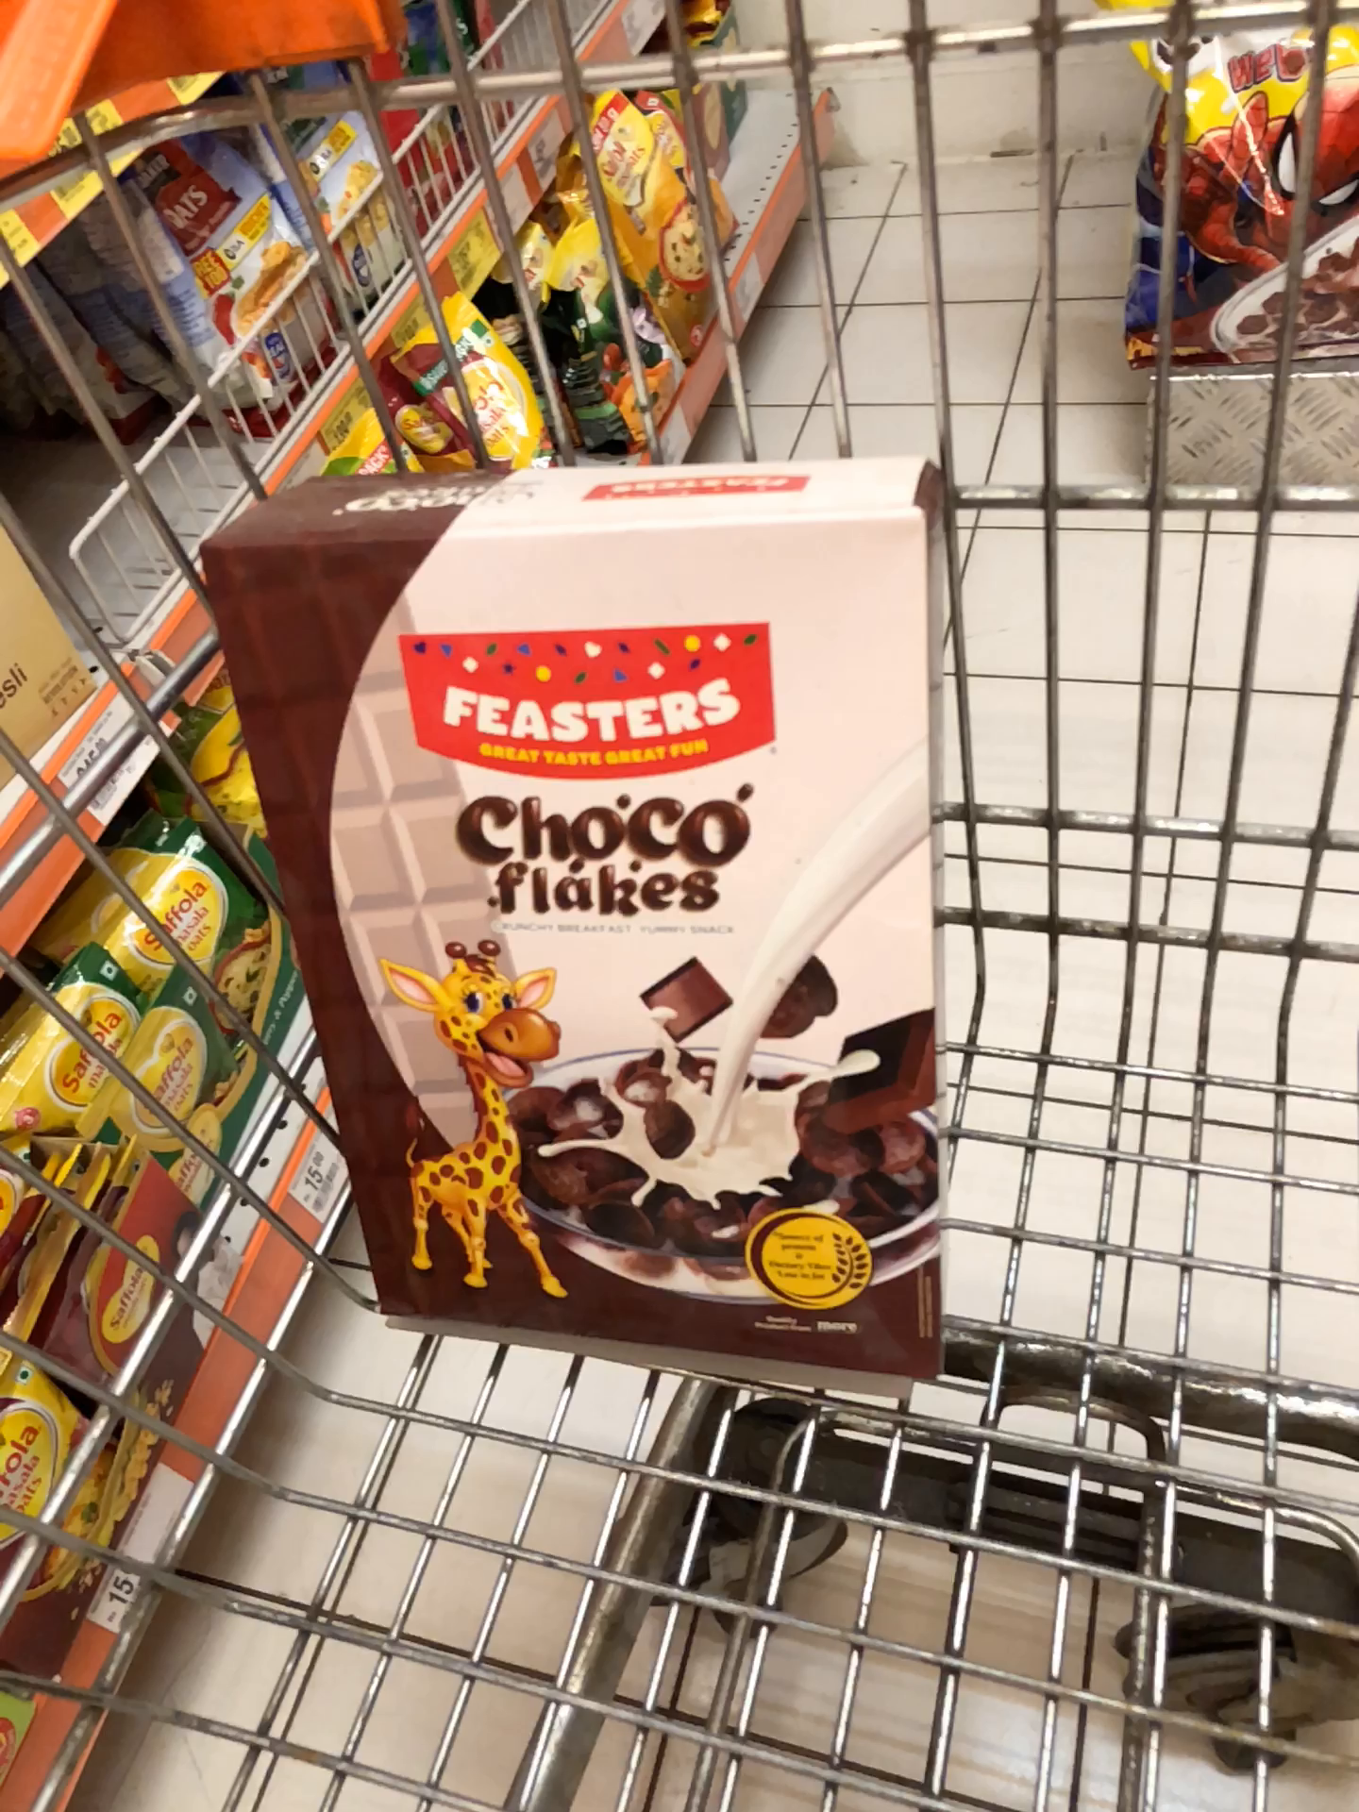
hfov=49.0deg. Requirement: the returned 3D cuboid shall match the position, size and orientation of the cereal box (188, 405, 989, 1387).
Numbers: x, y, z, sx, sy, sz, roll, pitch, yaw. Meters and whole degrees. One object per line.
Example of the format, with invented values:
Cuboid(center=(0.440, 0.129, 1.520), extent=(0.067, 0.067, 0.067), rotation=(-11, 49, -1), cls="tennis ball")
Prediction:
Cuboid(center=(-0.008, 0.003, 0.395), extent=(0.170, 0.239, 0.070), rotation=(1, 27, 15), cls="cereal box")
